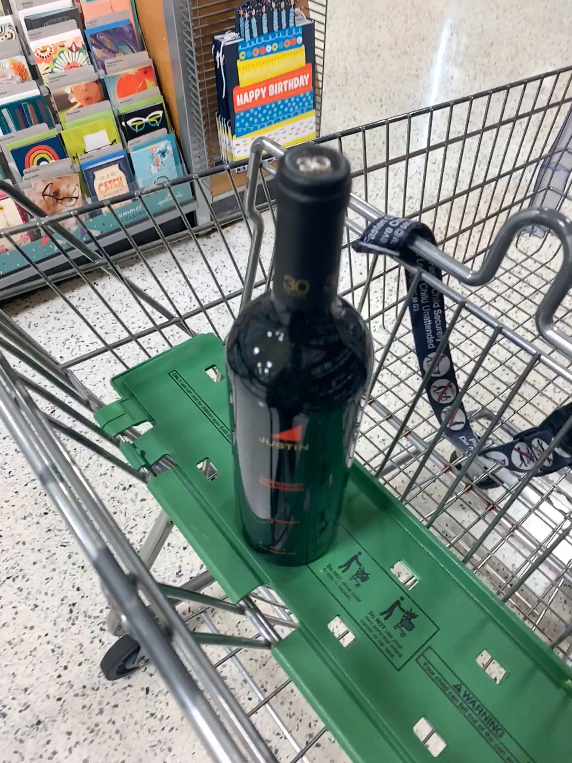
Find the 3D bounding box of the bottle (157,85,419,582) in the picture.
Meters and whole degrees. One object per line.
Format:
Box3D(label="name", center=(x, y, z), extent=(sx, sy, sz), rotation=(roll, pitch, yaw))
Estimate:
Box3D(label="bottle", center=(0.003, 0.009, 0.325), extent=(0.080, 0.297, 0.081), rotation=(1, 51, -1))
